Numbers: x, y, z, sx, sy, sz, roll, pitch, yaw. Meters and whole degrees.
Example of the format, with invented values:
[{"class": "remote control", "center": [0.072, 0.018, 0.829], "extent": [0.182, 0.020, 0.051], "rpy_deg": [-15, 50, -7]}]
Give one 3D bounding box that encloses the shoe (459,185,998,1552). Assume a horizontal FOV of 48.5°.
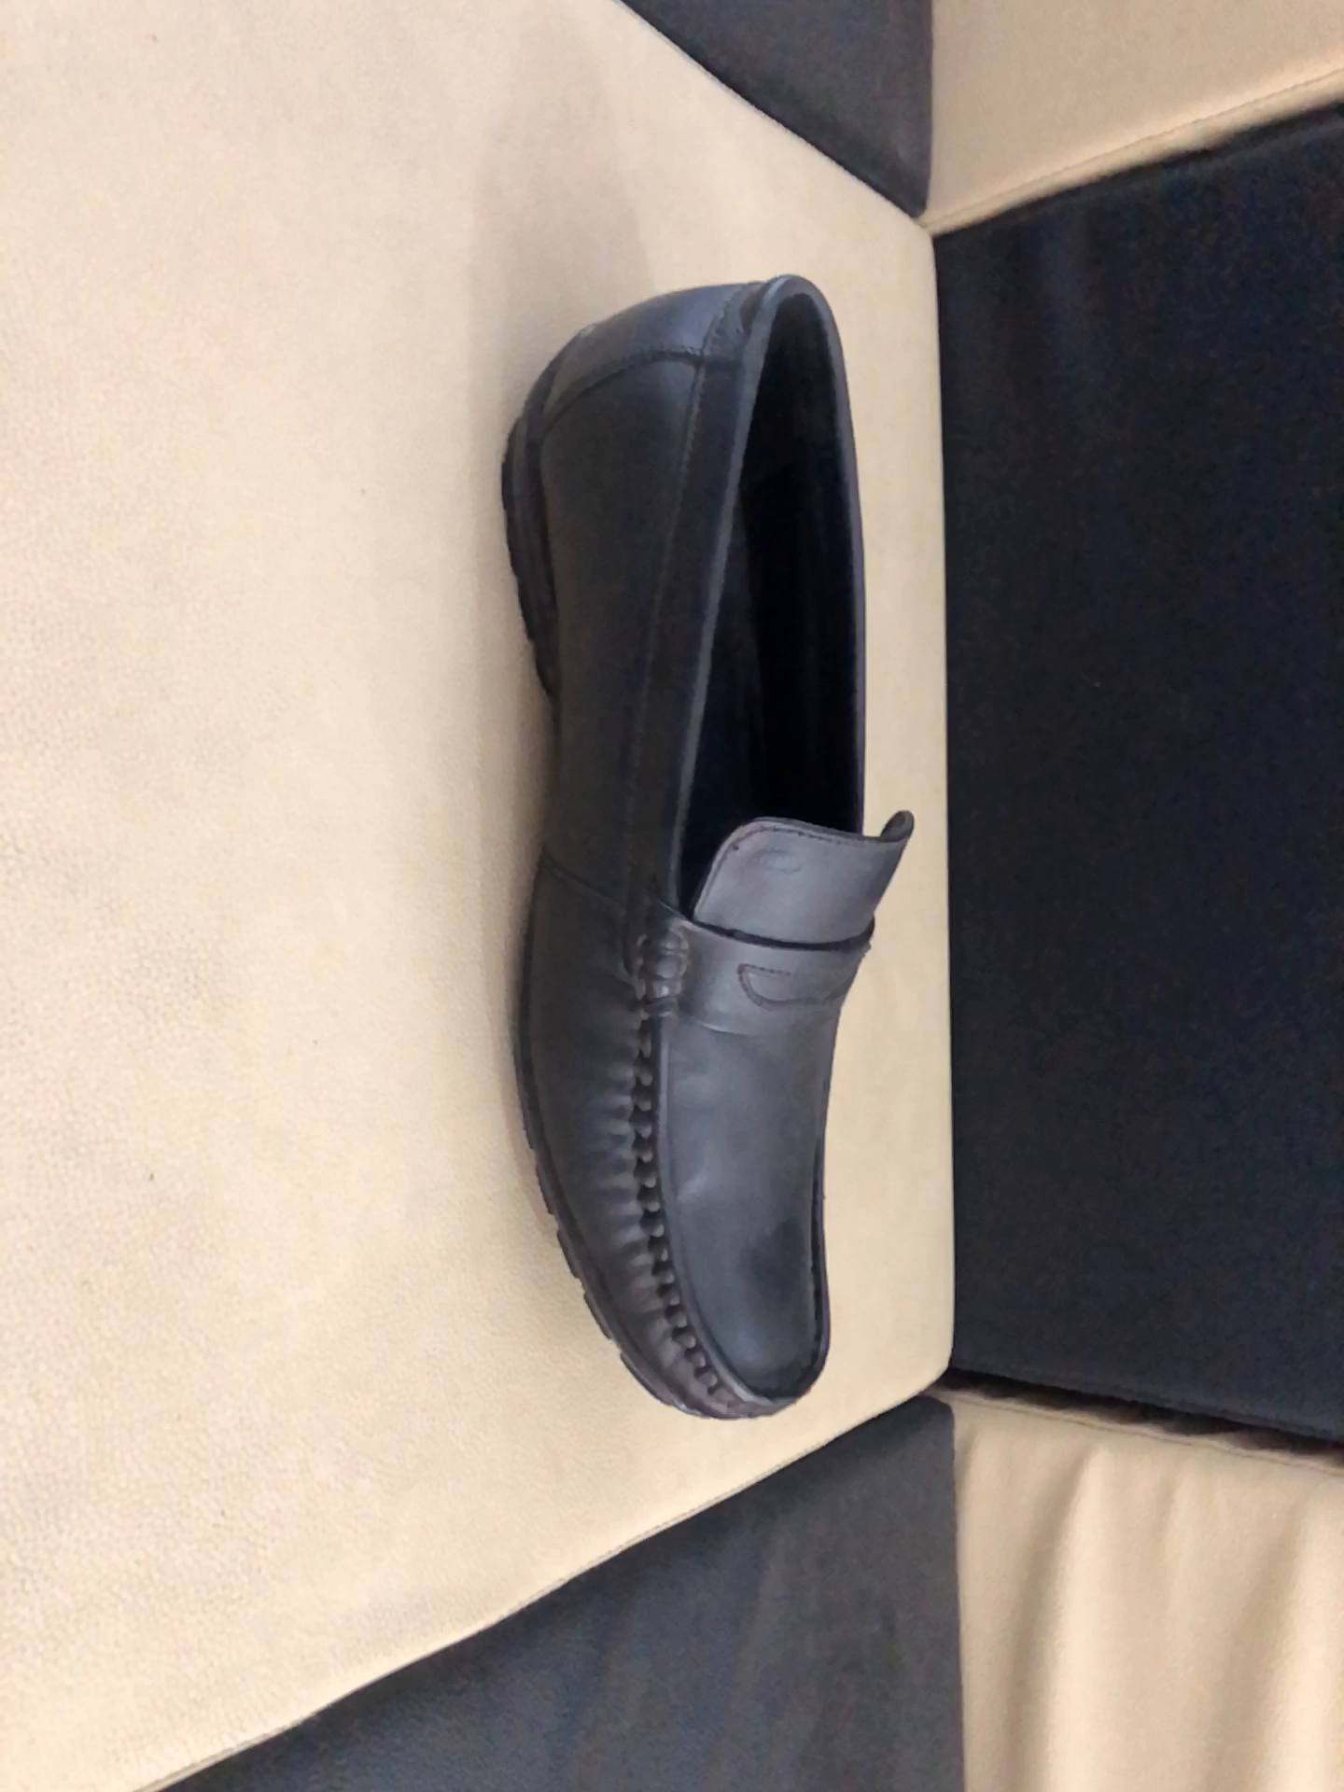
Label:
[{"class": "shoe", "center": [0.017, -0.006, 0.380], "extent": [0.101, 0.079, 0.290], "rpy_deg": [-2, 89, -52]}]
